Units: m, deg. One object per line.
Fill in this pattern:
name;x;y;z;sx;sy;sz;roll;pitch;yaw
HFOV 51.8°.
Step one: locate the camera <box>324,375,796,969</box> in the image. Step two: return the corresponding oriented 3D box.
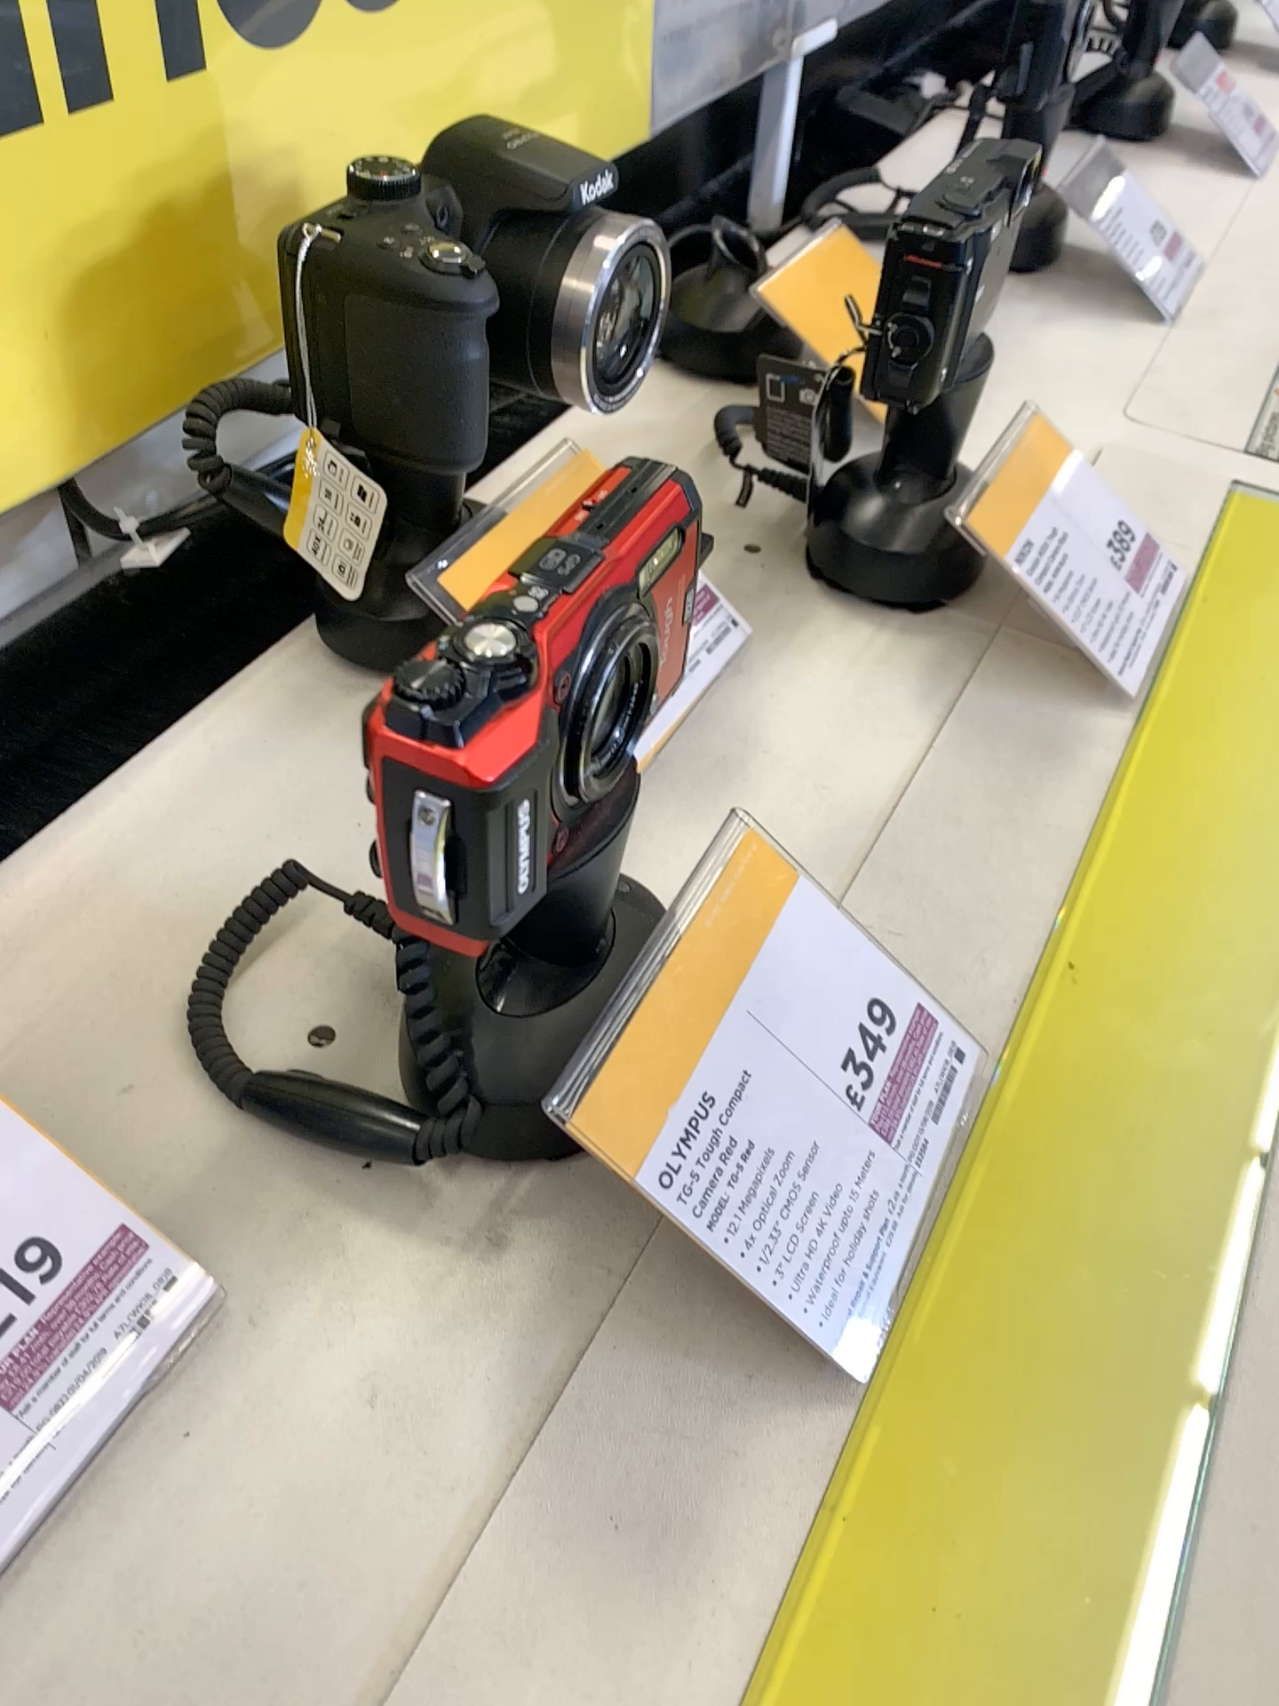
camera;-0.011;-0.043;0.276;0.040;0.059;0.121;21;47;14
